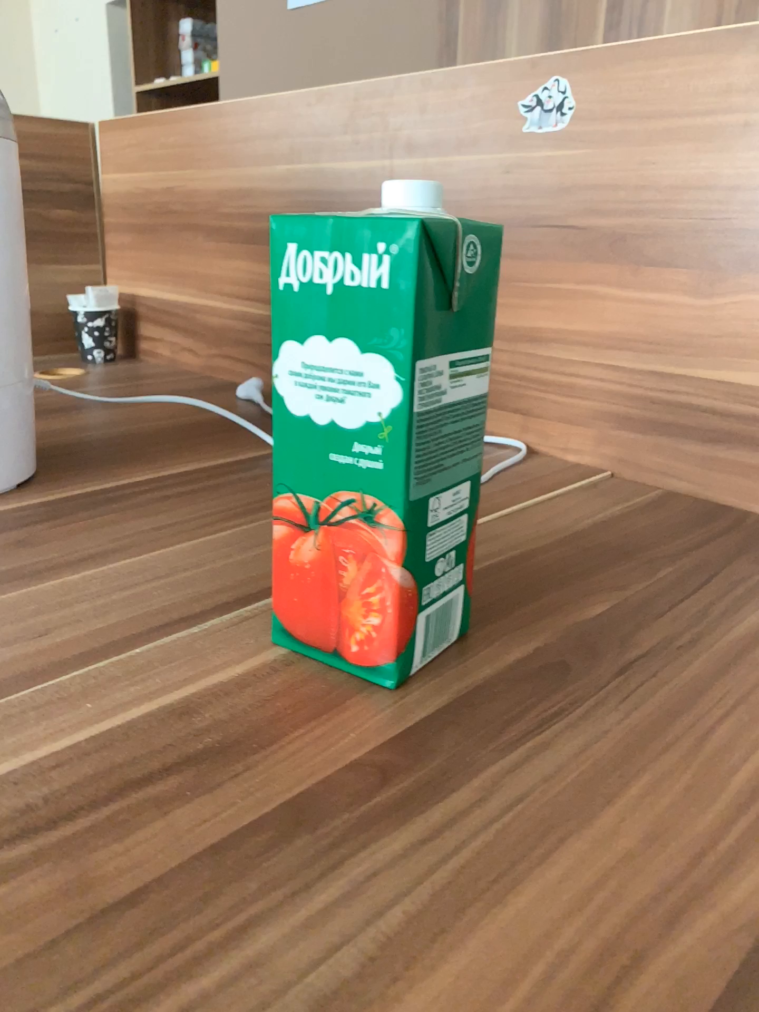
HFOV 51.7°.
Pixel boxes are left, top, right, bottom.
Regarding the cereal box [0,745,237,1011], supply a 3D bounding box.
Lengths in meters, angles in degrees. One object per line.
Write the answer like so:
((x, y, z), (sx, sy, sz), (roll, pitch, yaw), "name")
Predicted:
((-0.415, 0.622, 0.180), (0.590, 0.837, 0.612), (3, 19, 4), "cereal box")
